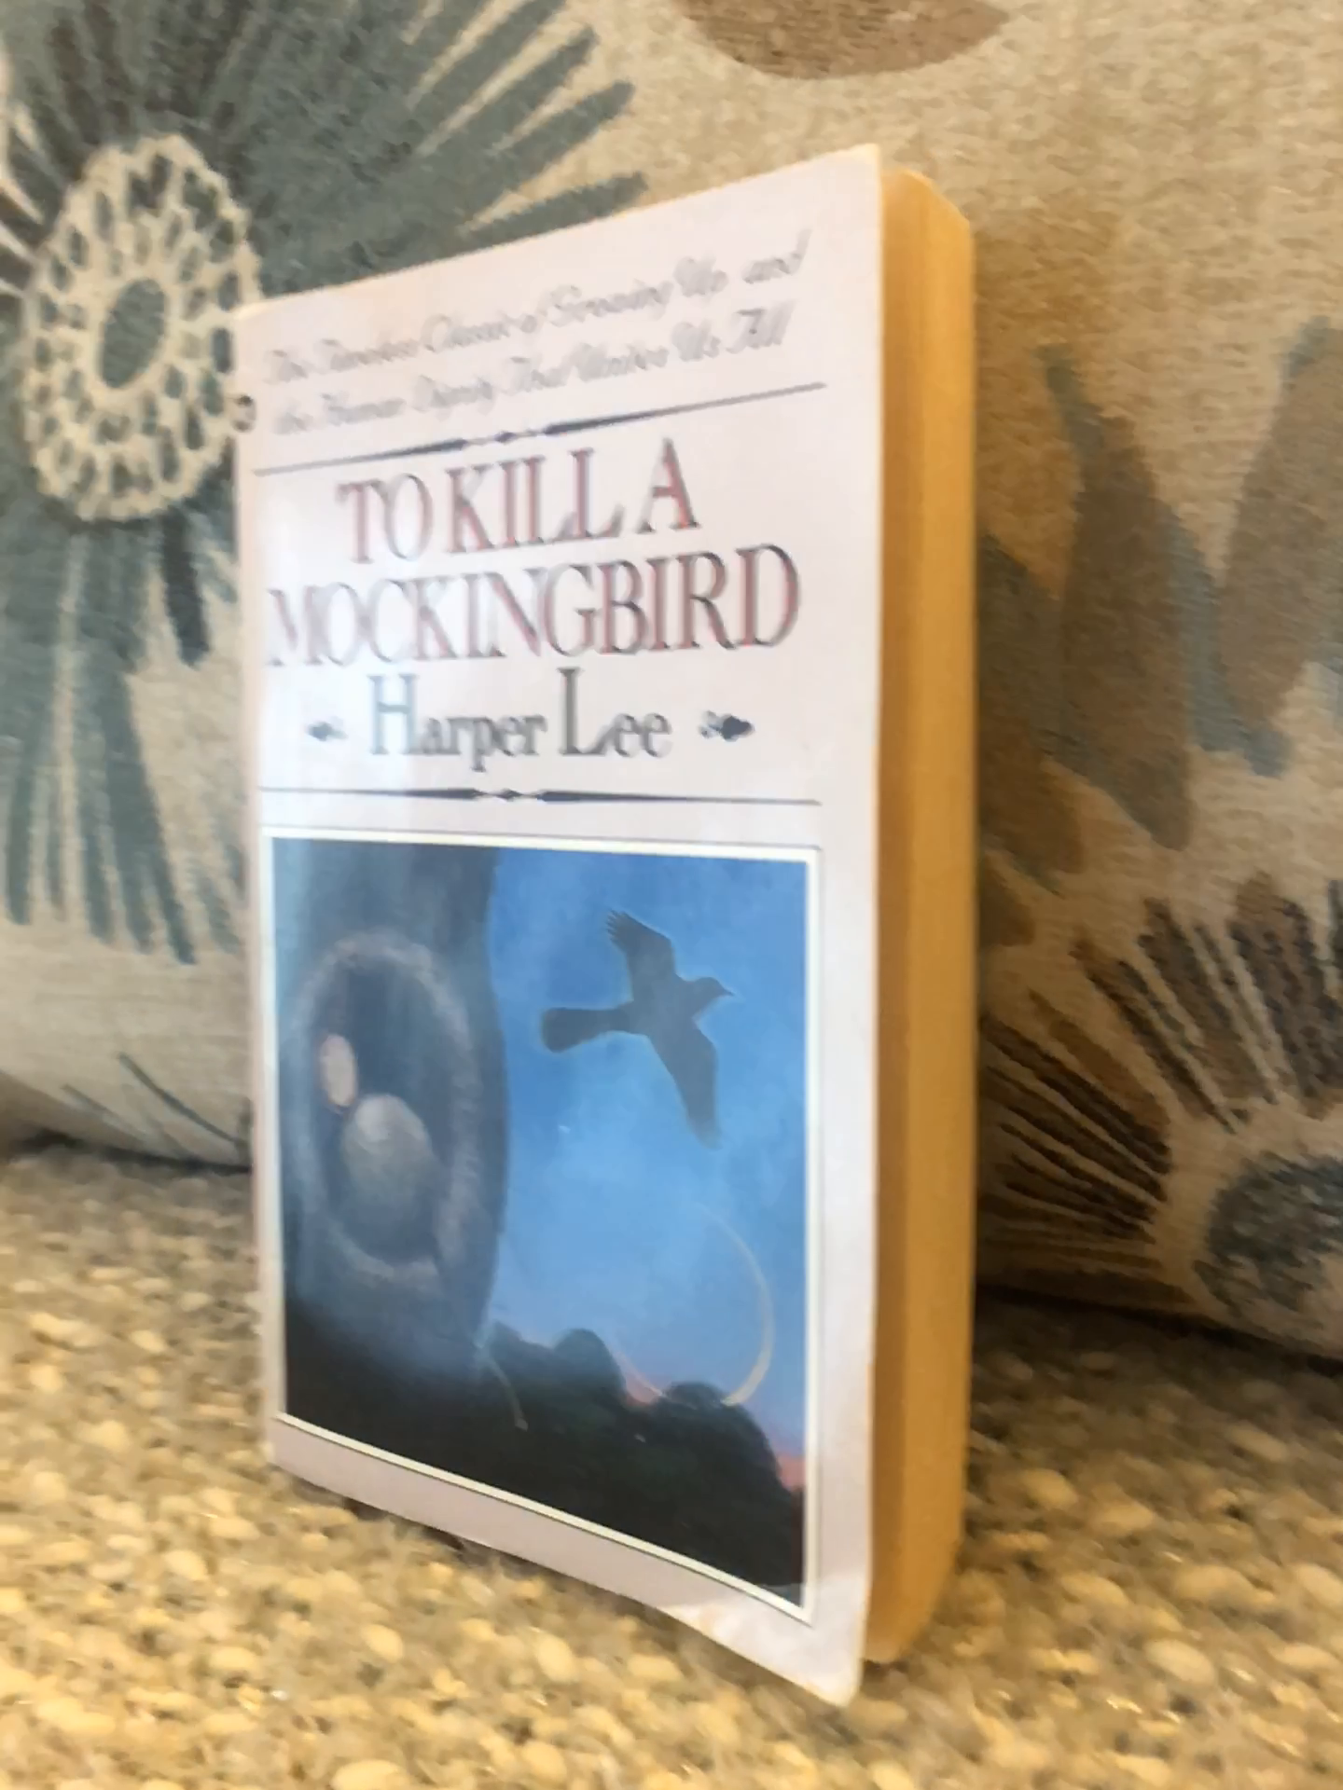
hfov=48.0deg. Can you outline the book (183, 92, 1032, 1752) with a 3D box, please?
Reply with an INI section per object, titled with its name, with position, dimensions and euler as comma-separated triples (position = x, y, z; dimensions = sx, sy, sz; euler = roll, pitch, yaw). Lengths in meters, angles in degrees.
[book]
position = -0.014, 0.002, 0.197
dimensions = 0.112, 0.166, 0.033
euler = 4, 5, 37
